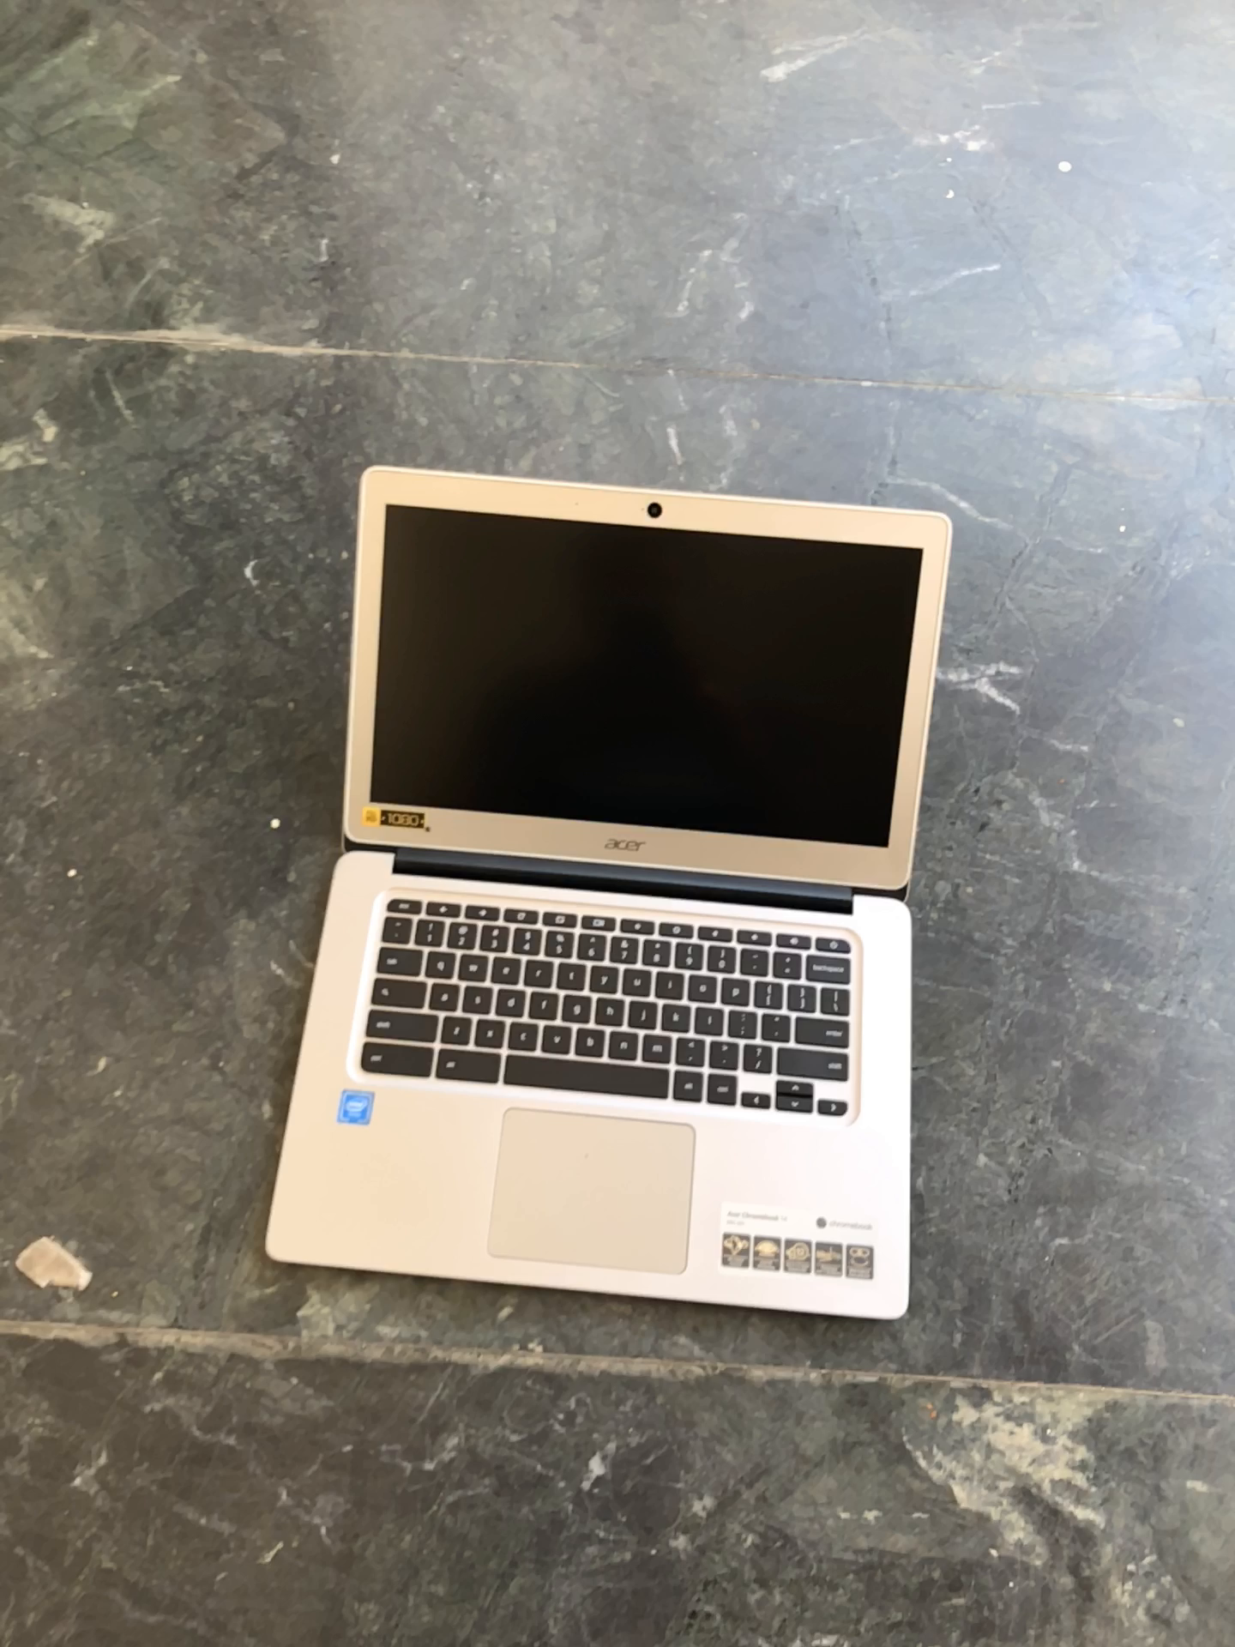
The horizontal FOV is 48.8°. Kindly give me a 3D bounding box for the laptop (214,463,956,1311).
[{"bbox_3d":[0.002,0.025,0.753,0.338,0.117,0.425,5,67,1],"label":"laptop"}]
